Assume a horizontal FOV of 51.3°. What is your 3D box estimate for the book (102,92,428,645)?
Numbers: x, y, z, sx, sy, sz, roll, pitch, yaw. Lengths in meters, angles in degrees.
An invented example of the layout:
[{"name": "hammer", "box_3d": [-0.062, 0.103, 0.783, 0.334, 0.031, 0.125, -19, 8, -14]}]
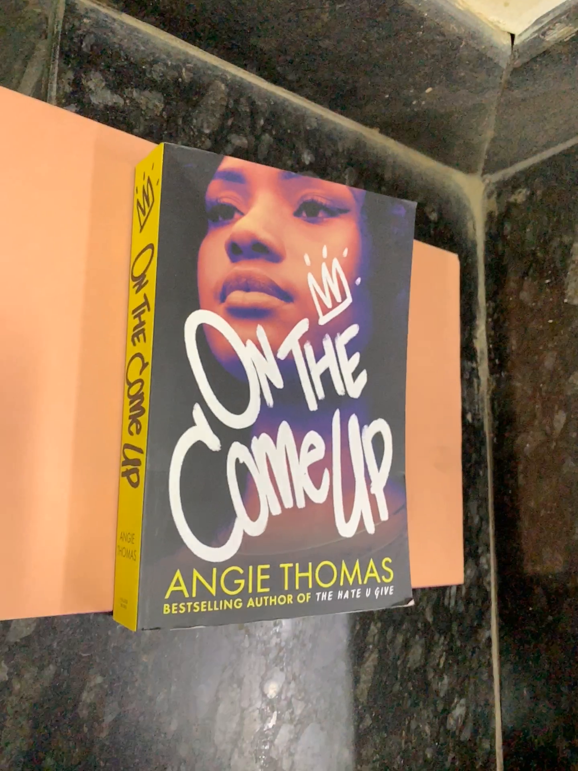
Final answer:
[{"name": "book", "box_3d": [-0.005, -0.005, 0.264, 0.131, 0.040, 0.200, 6, 79, -30]}]
